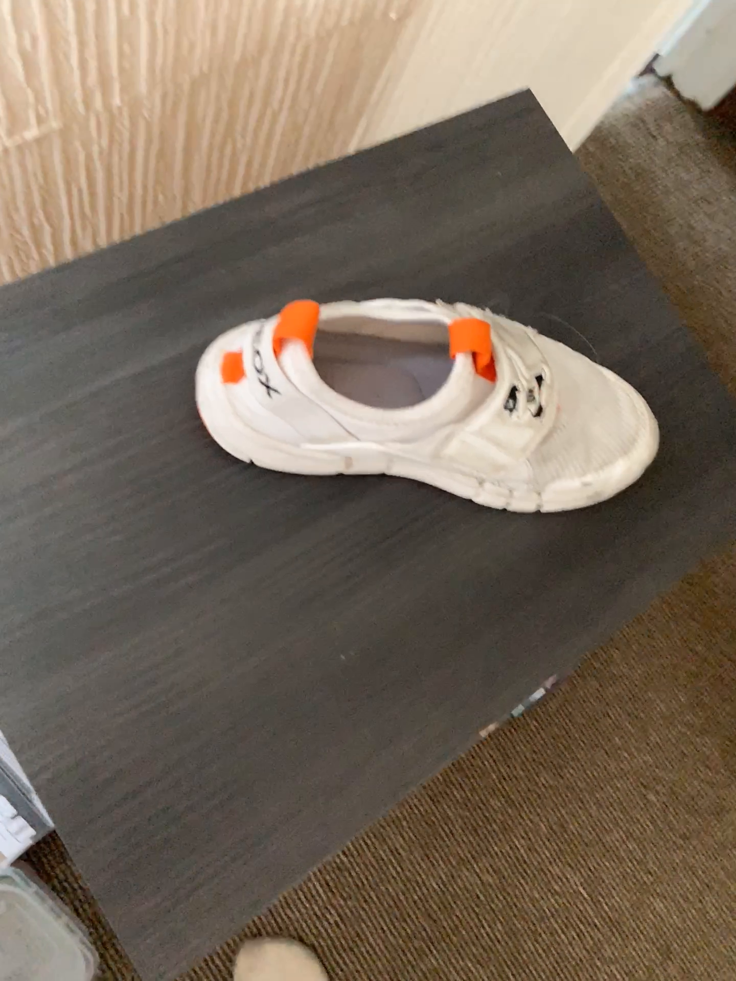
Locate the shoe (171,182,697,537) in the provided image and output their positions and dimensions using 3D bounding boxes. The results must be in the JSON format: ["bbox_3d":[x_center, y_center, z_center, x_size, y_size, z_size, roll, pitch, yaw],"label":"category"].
[{"bbox_3d":[0.032,-0.050,0.347,0.222,0.070,0.100,9,73,-15],"label":"shoe"}]
